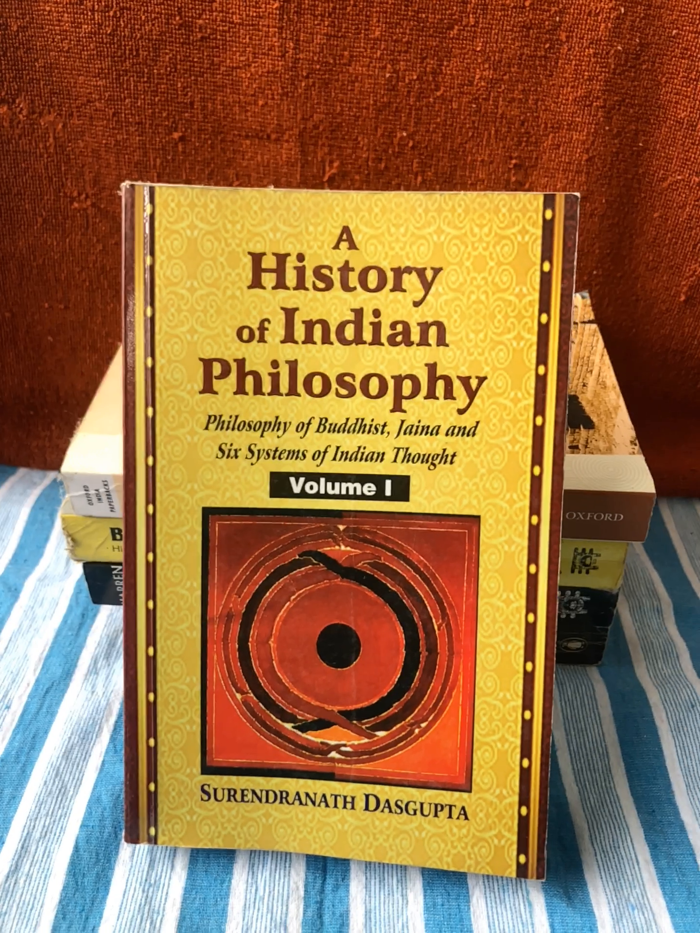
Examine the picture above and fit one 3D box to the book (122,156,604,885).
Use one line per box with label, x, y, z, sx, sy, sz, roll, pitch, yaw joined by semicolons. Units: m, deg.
book;0.002;0.016;0.261;0.141;0.216;0.048;2;5;7
